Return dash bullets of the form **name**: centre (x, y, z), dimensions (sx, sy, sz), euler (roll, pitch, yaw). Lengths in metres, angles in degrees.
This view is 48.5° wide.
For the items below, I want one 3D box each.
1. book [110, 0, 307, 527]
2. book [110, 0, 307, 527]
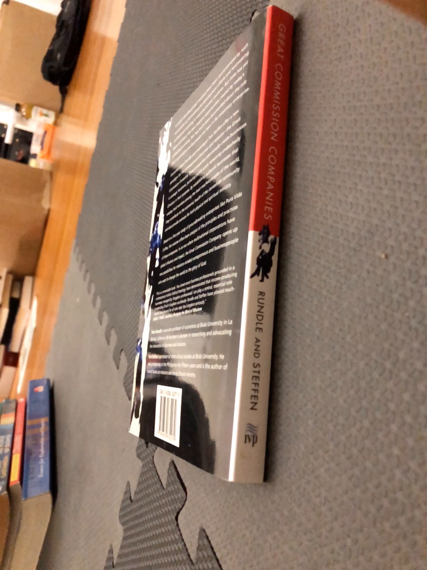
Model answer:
- **book**: centre (-0.011, -0.018, 0.254), dimensions (0.151, 0.020, 0.230), euler (-19, 63, 63)
- **book**: centre (-0.011, -0.018, 0.254), dimensions (0.151, 0.020, 0.230), euler (-19, 63, 63)
